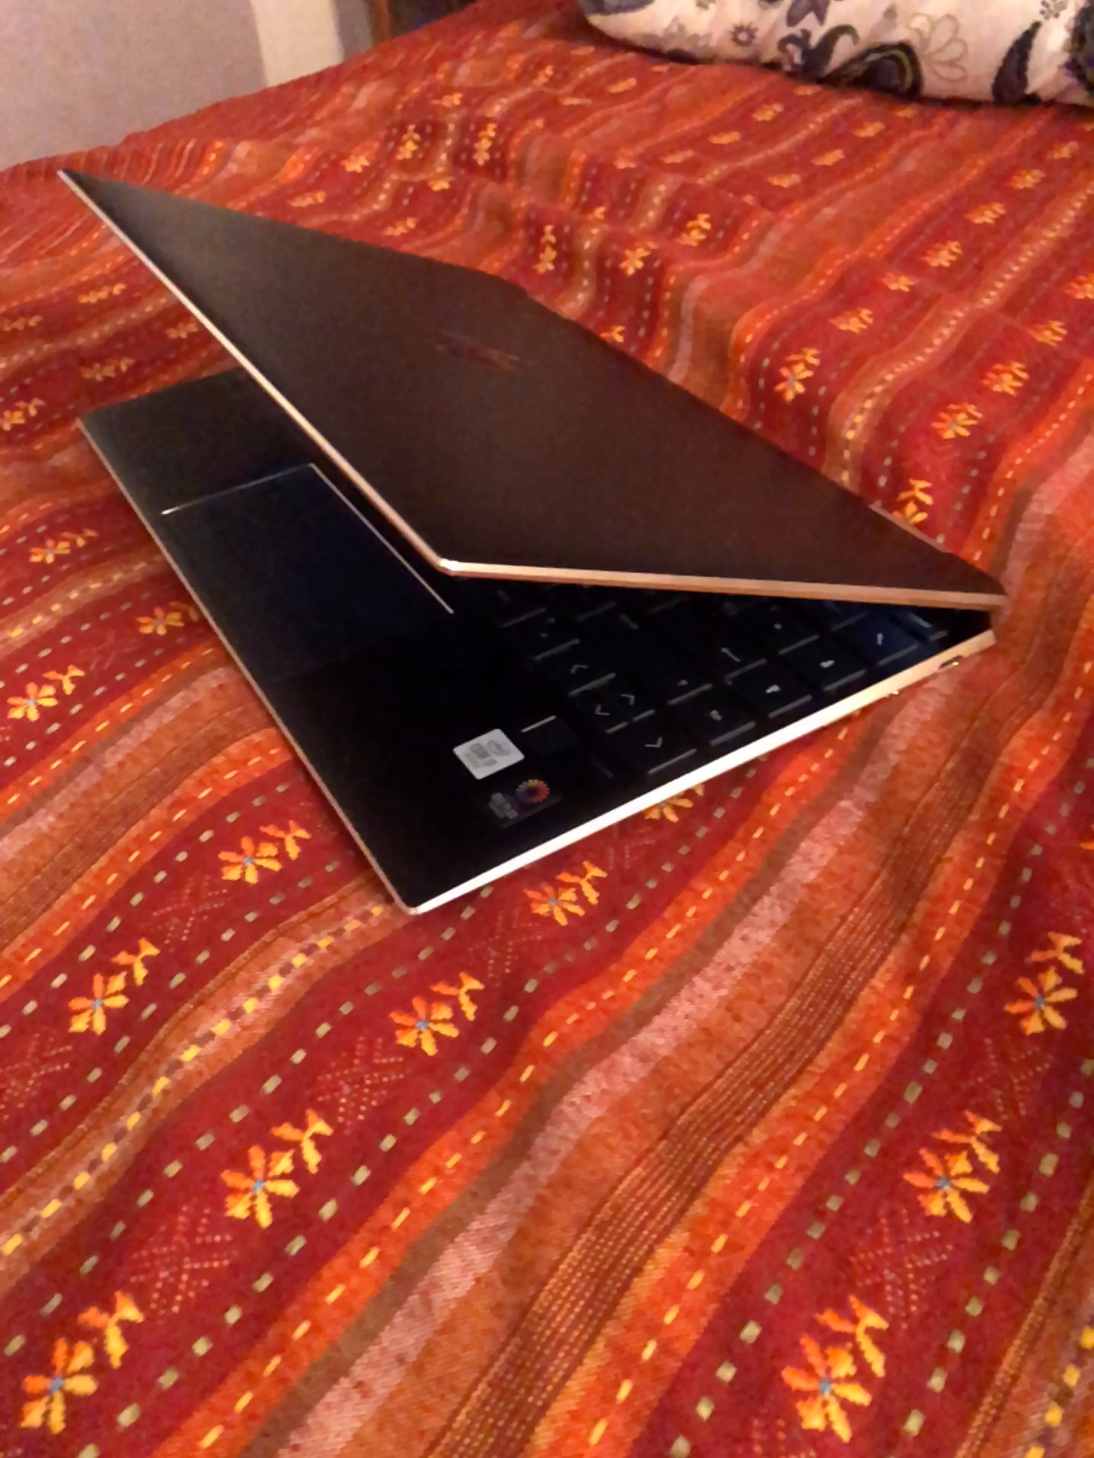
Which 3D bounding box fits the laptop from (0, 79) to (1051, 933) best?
[{"bbox_3d":[-0.032,-0.119,0.395,0.203,0.101,0.327,-21,42,-23],"label":"laptop"}]
